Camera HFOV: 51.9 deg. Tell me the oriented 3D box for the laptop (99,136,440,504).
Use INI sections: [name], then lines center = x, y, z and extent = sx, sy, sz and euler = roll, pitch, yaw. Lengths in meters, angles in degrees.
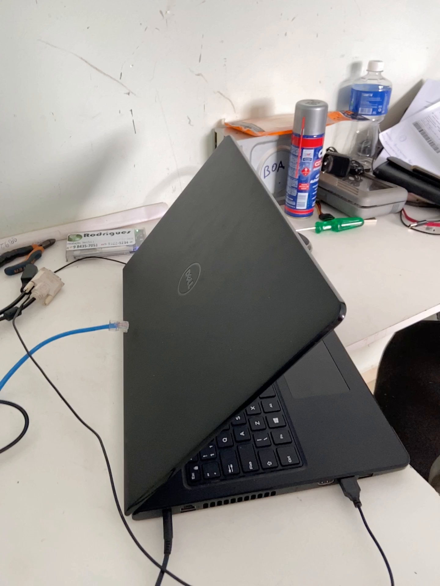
[laptop]
center = 0.013, -0.017, 0.500
extent = 0.255, 0.192, 0.374
euler = -7, 35, -9
